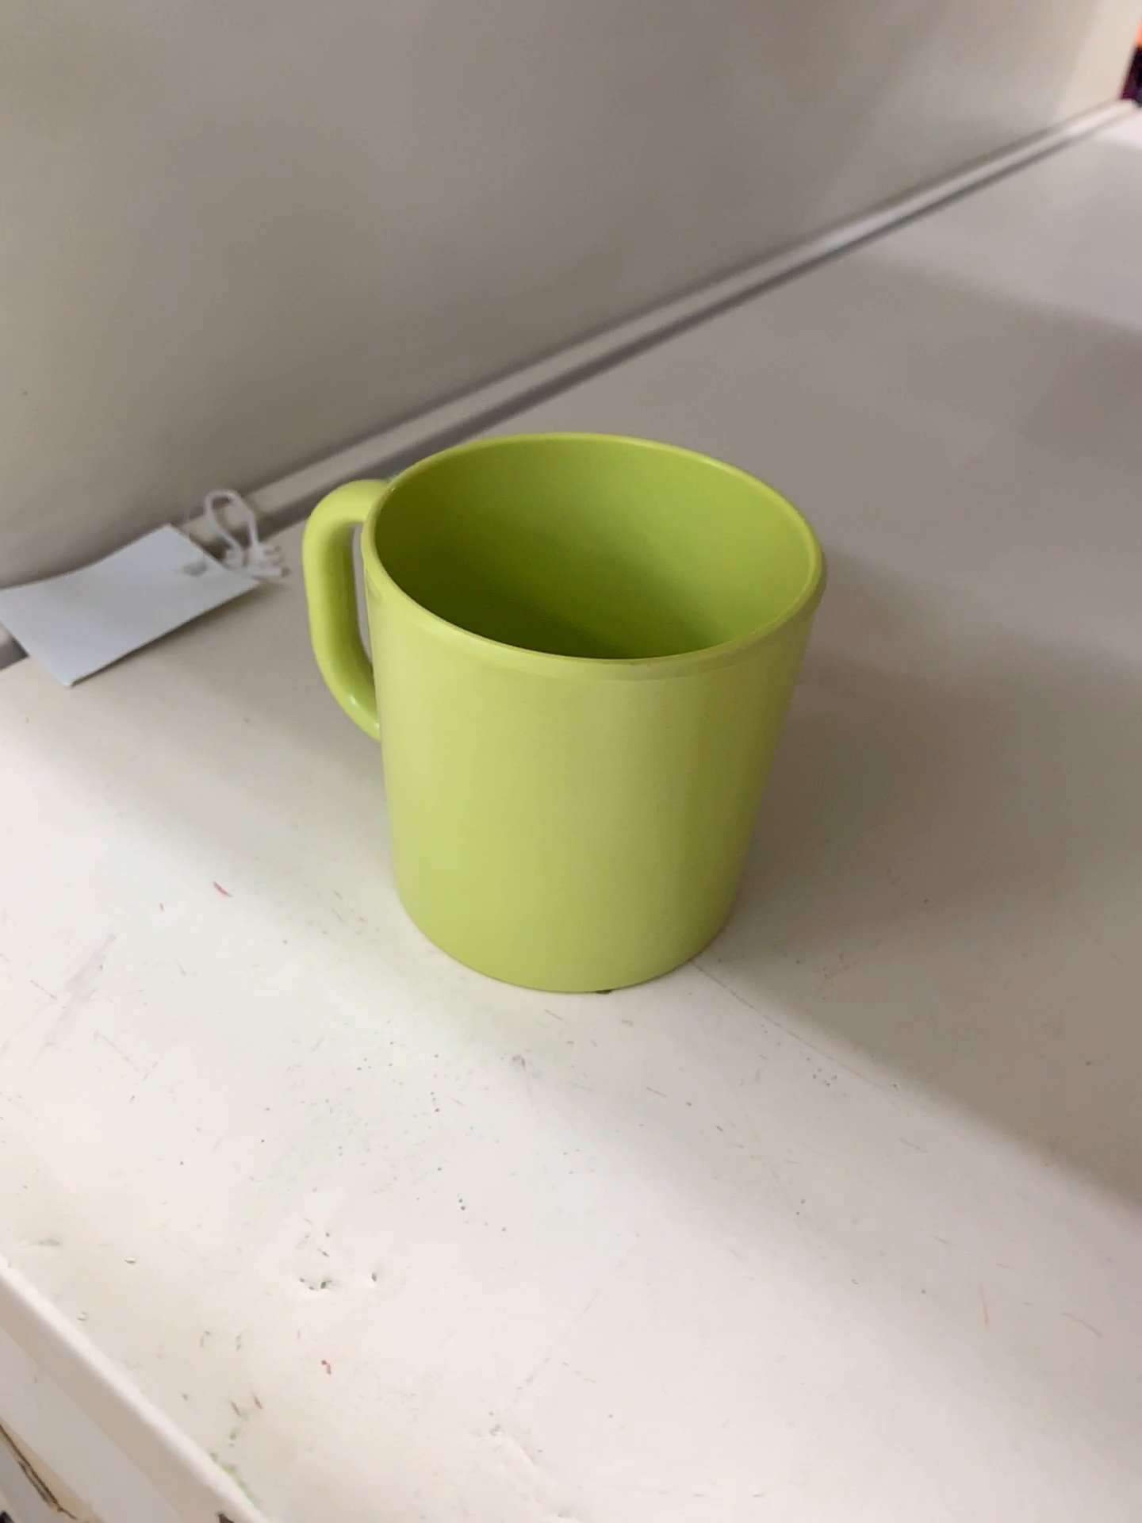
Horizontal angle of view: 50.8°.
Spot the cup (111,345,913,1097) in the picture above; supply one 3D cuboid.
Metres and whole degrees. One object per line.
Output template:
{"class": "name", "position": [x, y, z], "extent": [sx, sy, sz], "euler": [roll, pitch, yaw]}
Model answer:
{"class": "cup", "position": [-0.011, -0.014, 0.204], "extent": [0.100, 0.069, 0.070], "euler": [27, 44, 26]}
